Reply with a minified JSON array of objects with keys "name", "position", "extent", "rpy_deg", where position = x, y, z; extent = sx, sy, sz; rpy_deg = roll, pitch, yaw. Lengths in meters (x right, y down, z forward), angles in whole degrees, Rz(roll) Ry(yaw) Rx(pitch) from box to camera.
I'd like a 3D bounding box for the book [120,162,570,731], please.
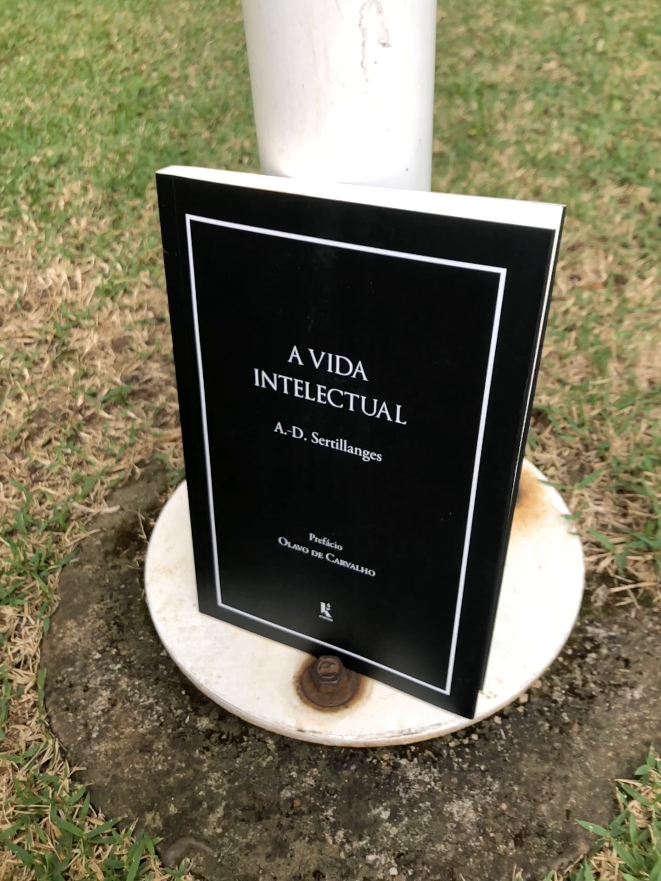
[{"name":"book","position":[-0.002,0.007,0.274],"extent":[0.141,0.193,0.025],"rpy_deg":[15,34,23]}]
